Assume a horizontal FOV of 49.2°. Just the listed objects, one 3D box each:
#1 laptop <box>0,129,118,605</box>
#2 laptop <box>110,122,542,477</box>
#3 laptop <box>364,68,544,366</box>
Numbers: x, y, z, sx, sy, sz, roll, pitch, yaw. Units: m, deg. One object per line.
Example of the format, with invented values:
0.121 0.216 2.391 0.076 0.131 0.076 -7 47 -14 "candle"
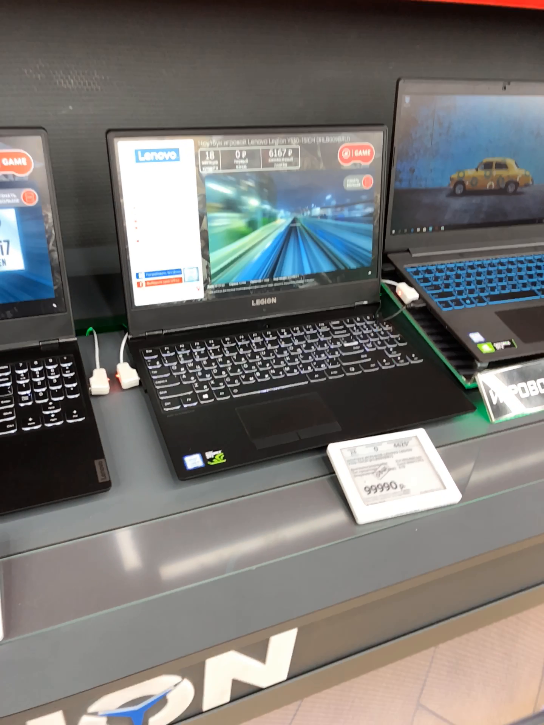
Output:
-0.359 -0.041 0.527 0.353 0.223 0.316 -10 40 -23 "laptop"
0.029 -0.102 0.672 0.352 0.225 0.302 -9 40 -20 "laptop"
0.375 -0.226 0.828 0.354 0.225 0.335 -8 43 -19 "laptop"
